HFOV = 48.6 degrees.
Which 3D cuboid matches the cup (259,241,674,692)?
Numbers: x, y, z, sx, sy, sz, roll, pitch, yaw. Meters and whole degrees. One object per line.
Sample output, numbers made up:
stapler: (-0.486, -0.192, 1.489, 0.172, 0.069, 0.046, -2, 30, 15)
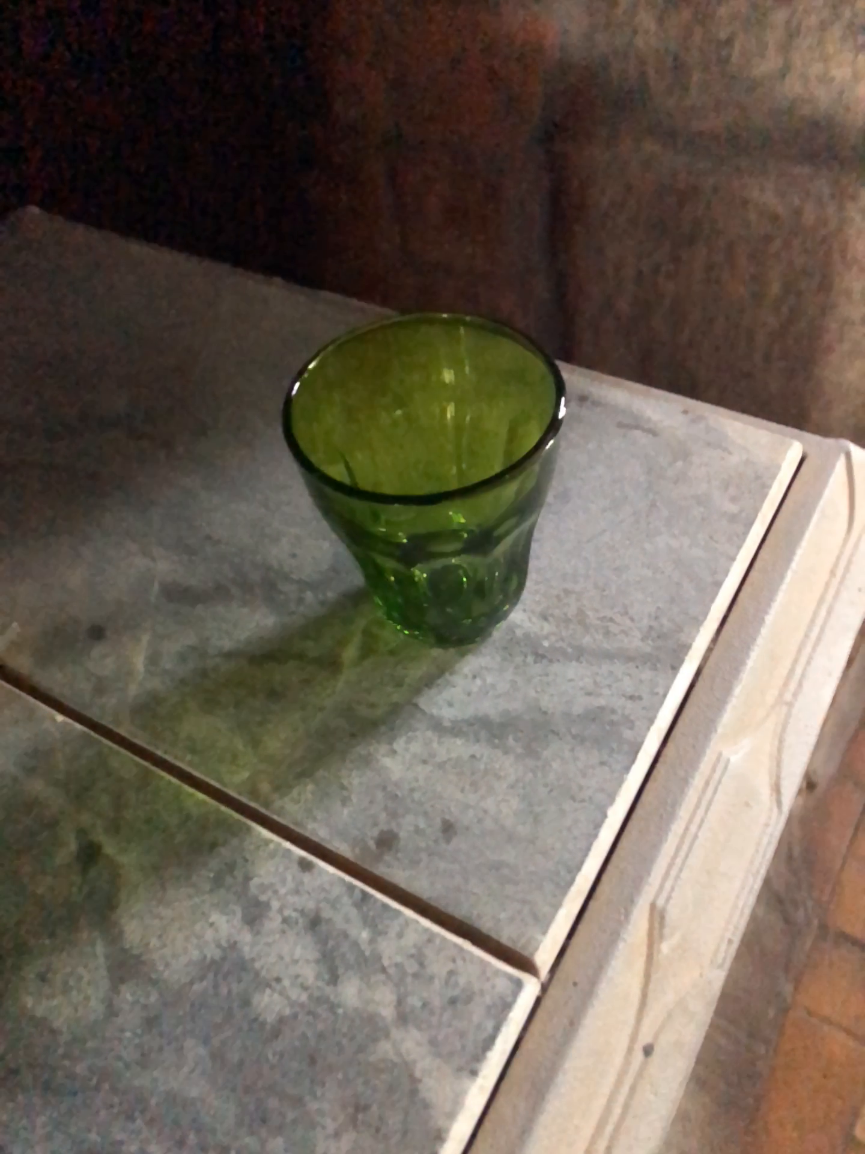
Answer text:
cup: (0.014, -0.034, 0.281, 0.080, 0.080, 0.080, -4, 51, 4)
